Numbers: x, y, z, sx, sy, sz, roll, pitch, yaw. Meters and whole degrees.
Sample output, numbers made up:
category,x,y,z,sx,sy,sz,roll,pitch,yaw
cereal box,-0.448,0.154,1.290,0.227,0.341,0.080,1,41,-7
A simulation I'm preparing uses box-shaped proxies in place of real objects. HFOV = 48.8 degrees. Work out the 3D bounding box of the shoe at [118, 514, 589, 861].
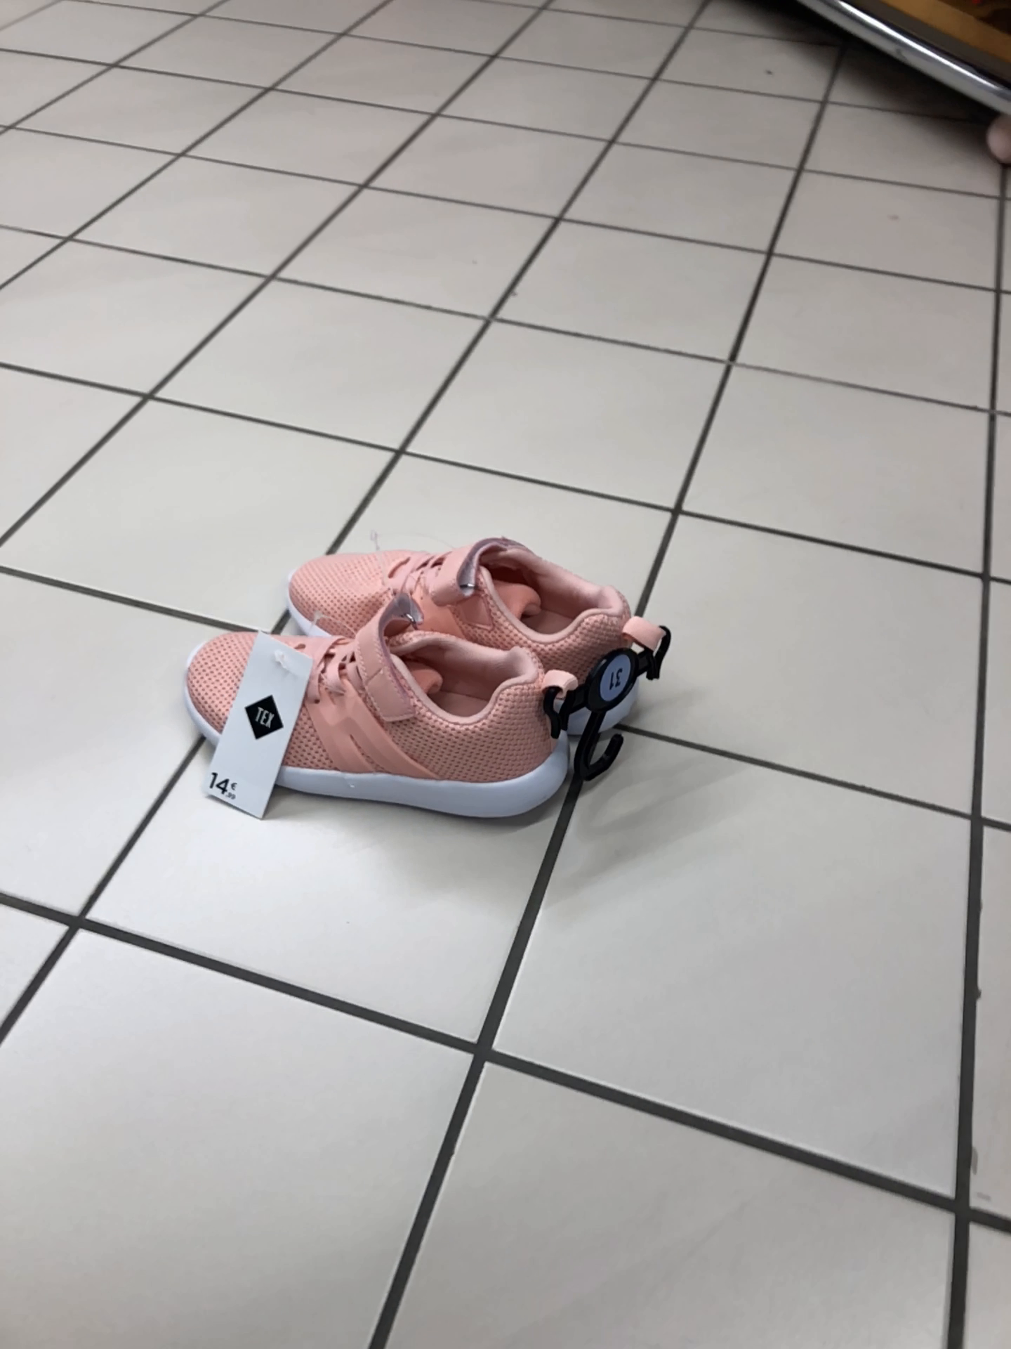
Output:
category,x,y,z,sx,sy,sz,roll,pitch,yaw
shoe,-0.071,0.004,0.555,0.203,0.093,0.083,15,47,12

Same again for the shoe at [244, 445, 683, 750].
category,x,y,z,sx,sy,sz,roll,pitch,yaw
shoe,-0.021,-0.044,0.603,0.210,0.092,0.080,14,47,11
